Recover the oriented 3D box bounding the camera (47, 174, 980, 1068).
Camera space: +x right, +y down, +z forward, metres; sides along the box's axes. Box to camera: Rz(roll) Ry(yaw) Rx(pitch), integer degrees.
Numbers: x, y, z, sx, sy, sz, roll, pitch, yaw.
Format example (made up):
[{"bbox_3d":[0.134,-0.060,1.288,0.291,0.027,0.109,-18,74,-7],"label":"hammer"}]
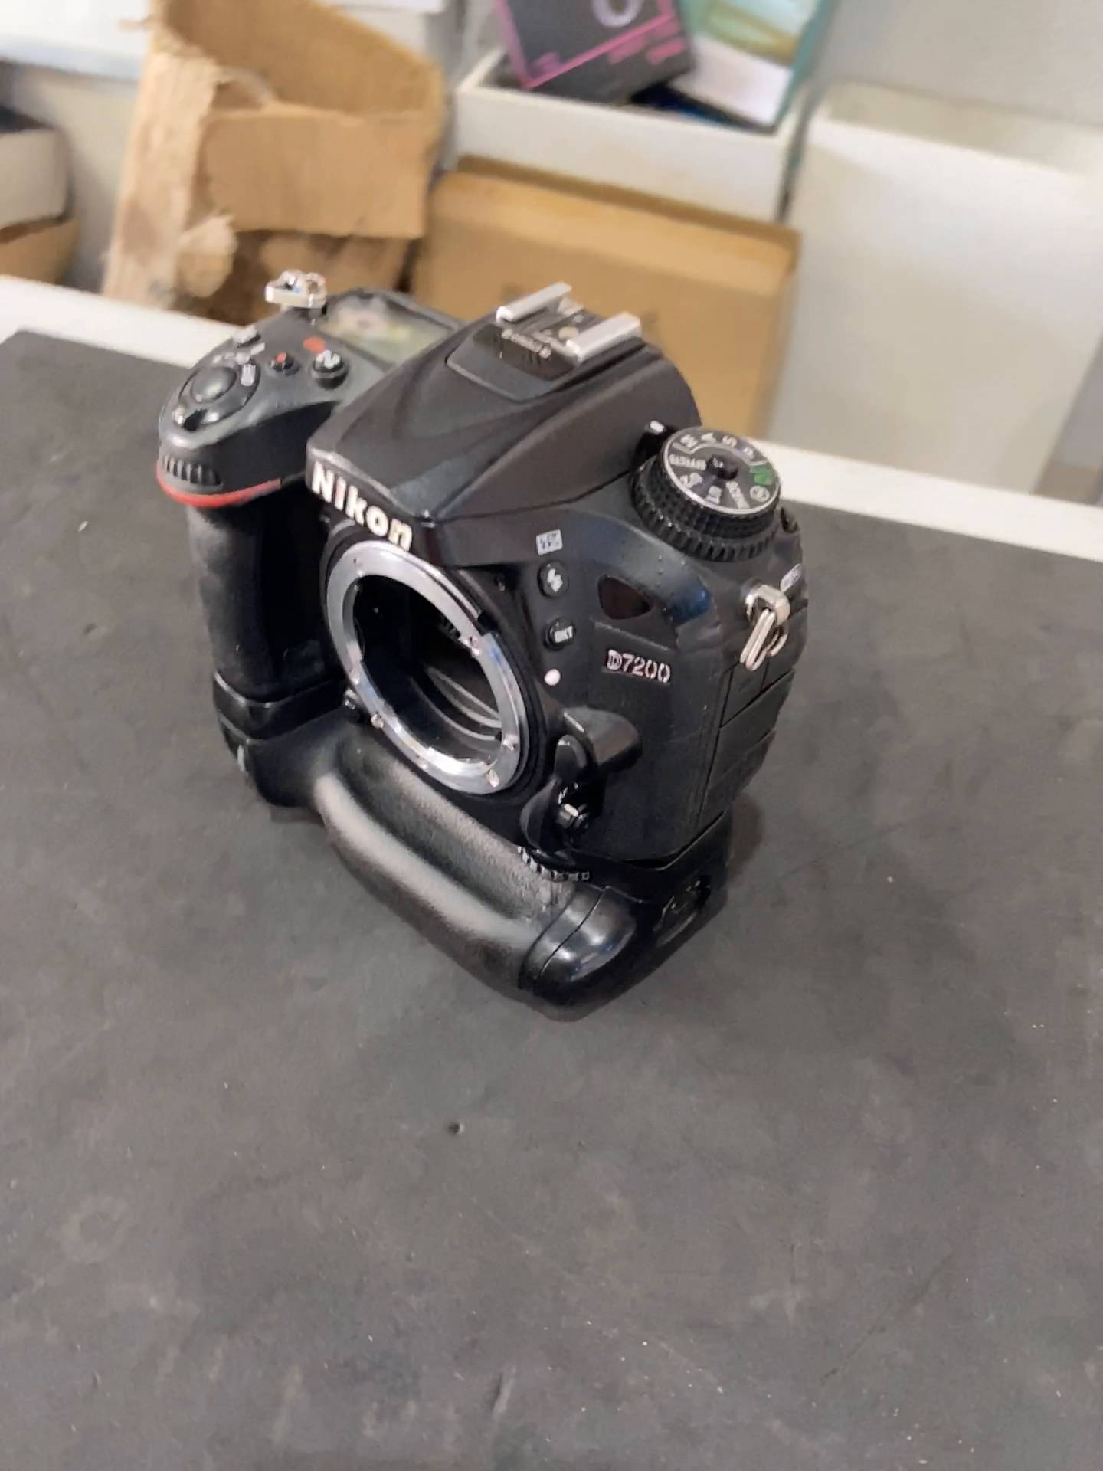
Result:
[{"bbox_3d":[-0.011,-0.032,0.249,0.140,0.109,0.100,33,52,26],"label":"camera"}]
